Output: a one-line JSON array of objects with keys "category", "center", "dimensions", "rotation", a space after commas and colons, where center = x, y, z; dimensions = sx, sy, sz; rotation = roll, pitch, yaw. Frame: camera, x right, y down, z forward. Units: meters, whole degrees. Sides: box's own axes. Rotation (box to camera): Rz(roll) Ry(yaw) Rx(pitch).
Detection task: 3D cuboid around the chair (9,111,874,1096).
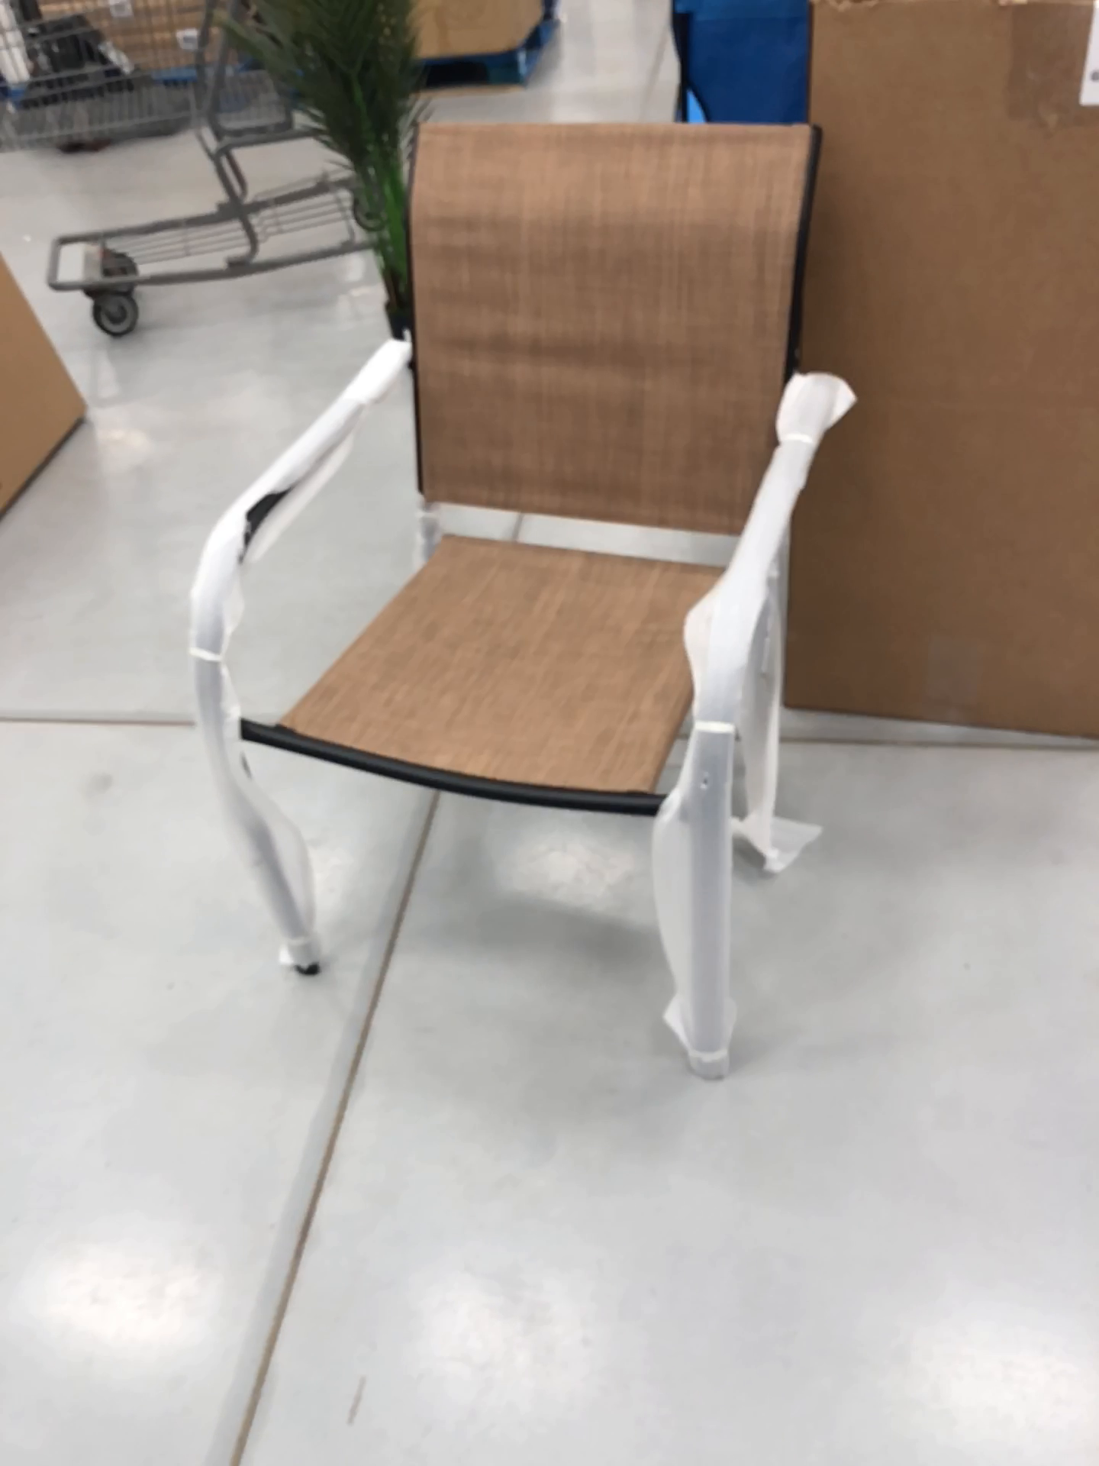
[{"category": "chair", "center": [-0.016, -0.162, 1.431], "dimensions": [0.620, 0.876, 0.632], "rotation": [9, 44, 19]}]
